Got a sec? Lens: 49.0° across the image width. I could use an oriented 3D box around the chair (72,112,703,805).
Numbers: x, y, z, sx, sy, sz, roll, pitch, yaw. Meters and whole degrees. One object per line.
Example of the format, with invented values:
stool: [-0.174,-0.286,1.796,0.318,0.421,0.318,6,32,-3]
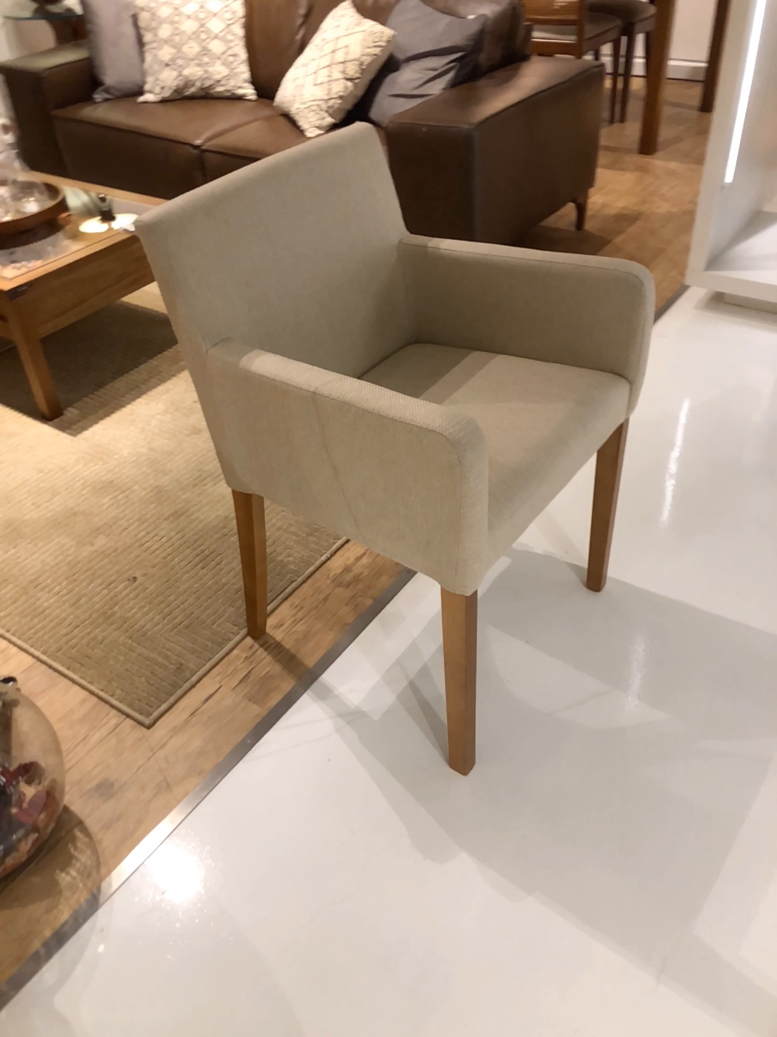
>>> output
chair: [0.034,-0.137,1.393,0.621,0.794,0.603,22,45,29]
